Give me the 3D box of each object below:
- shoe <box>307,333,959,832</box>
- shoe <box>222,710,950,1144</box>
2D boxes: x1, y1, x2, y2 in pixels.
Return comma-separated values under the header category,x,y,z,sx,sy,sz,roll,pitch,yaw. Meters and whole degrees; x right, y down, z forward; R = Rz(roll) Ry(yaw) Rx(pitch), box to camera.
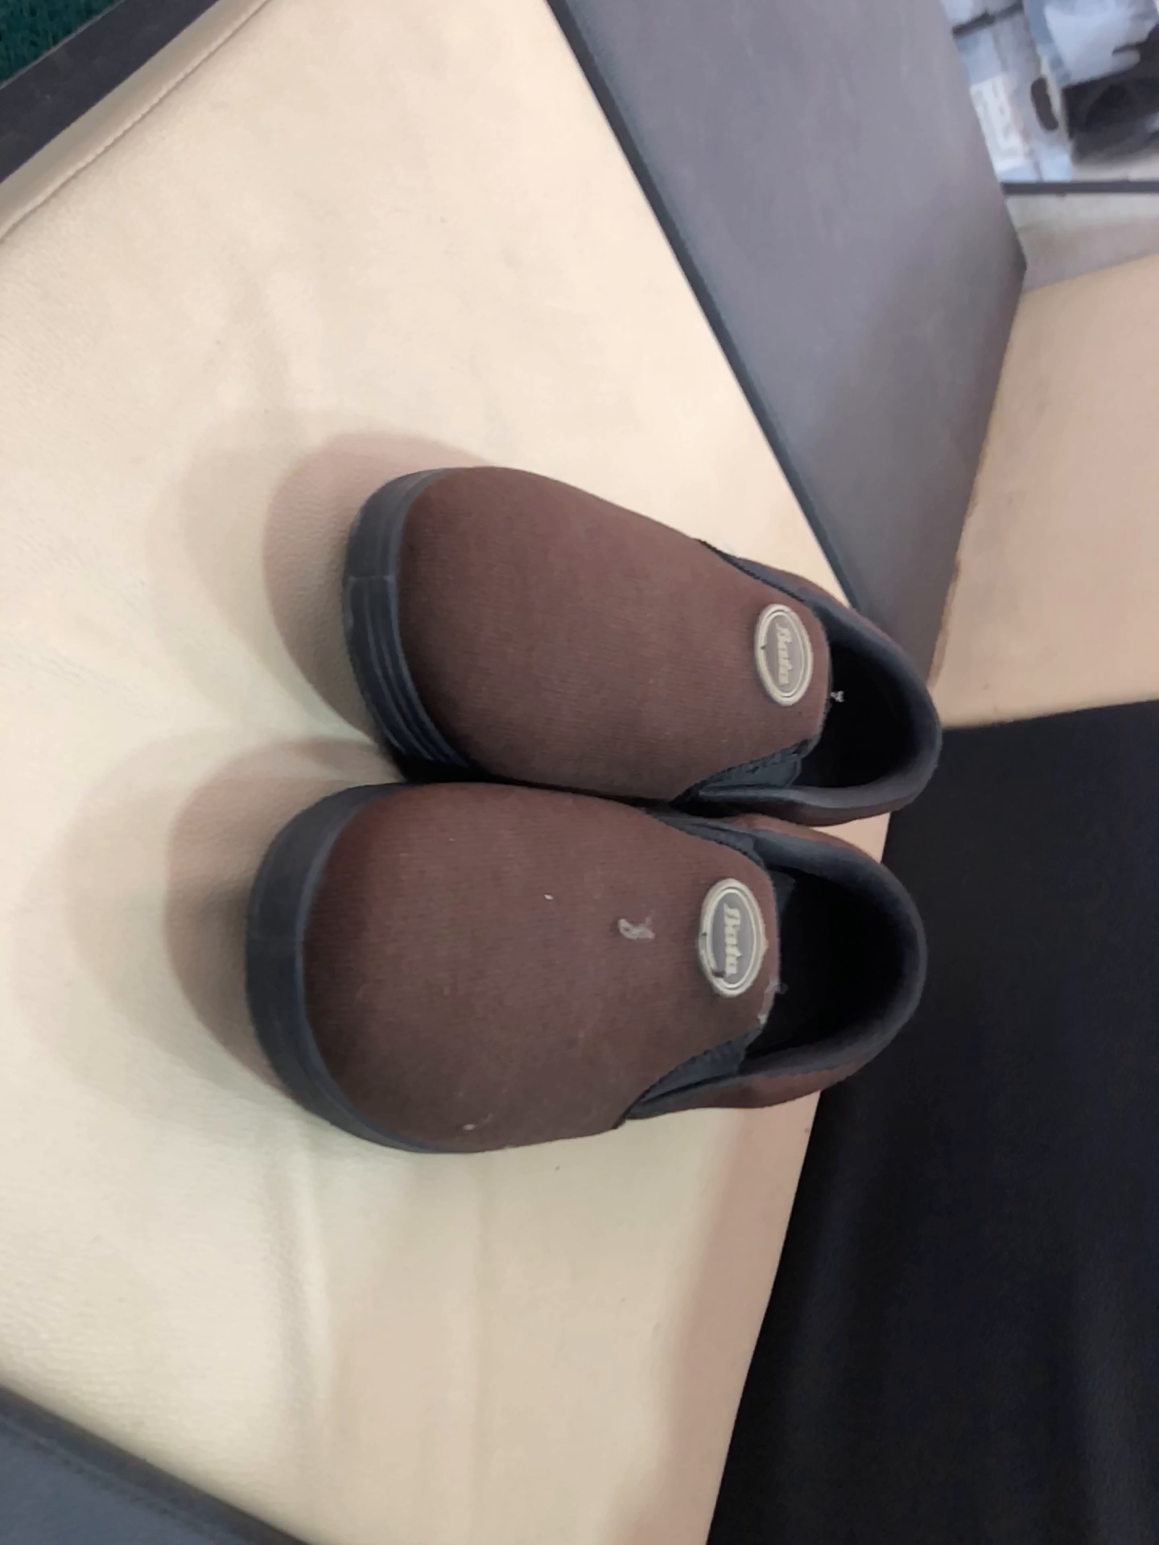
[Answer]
category,x,y,z,sx,sy,sz,roll,pitch,yaw
shoe,0.038,-0.040,0.427,0.252,0.089,0.090,13,75,-53
shoe,0.027,0.053,0.399,0.272,0.079,0.090,13,75,-53
